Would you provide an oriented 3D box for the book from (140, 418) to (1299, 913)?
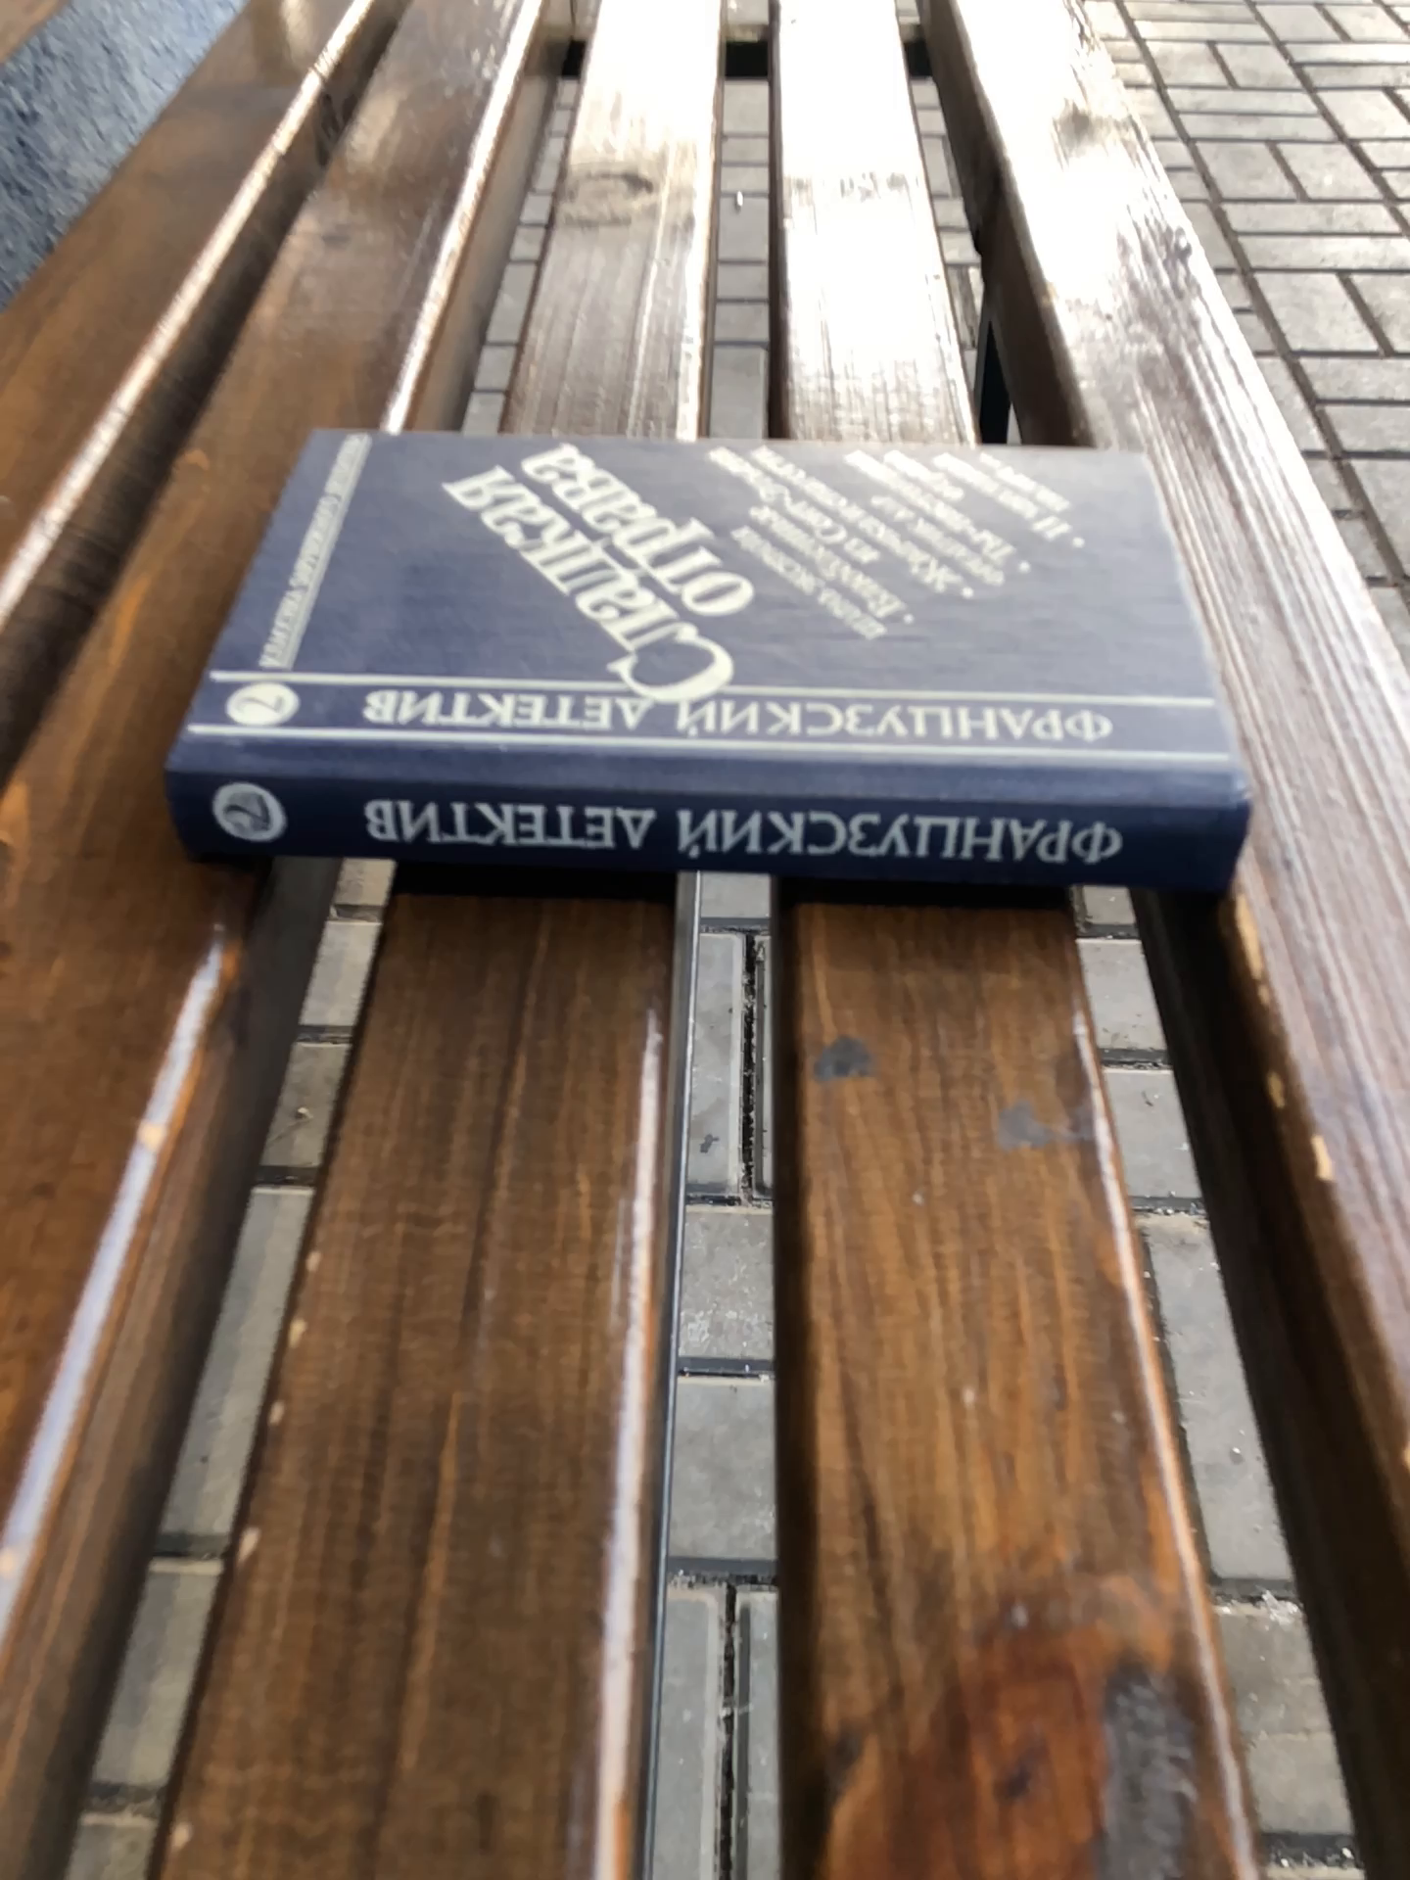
[{"bbox_3d":[0.003,-0.066,0.341,0.211,0.030,0.133,2,45,0],"label":"book"}]
